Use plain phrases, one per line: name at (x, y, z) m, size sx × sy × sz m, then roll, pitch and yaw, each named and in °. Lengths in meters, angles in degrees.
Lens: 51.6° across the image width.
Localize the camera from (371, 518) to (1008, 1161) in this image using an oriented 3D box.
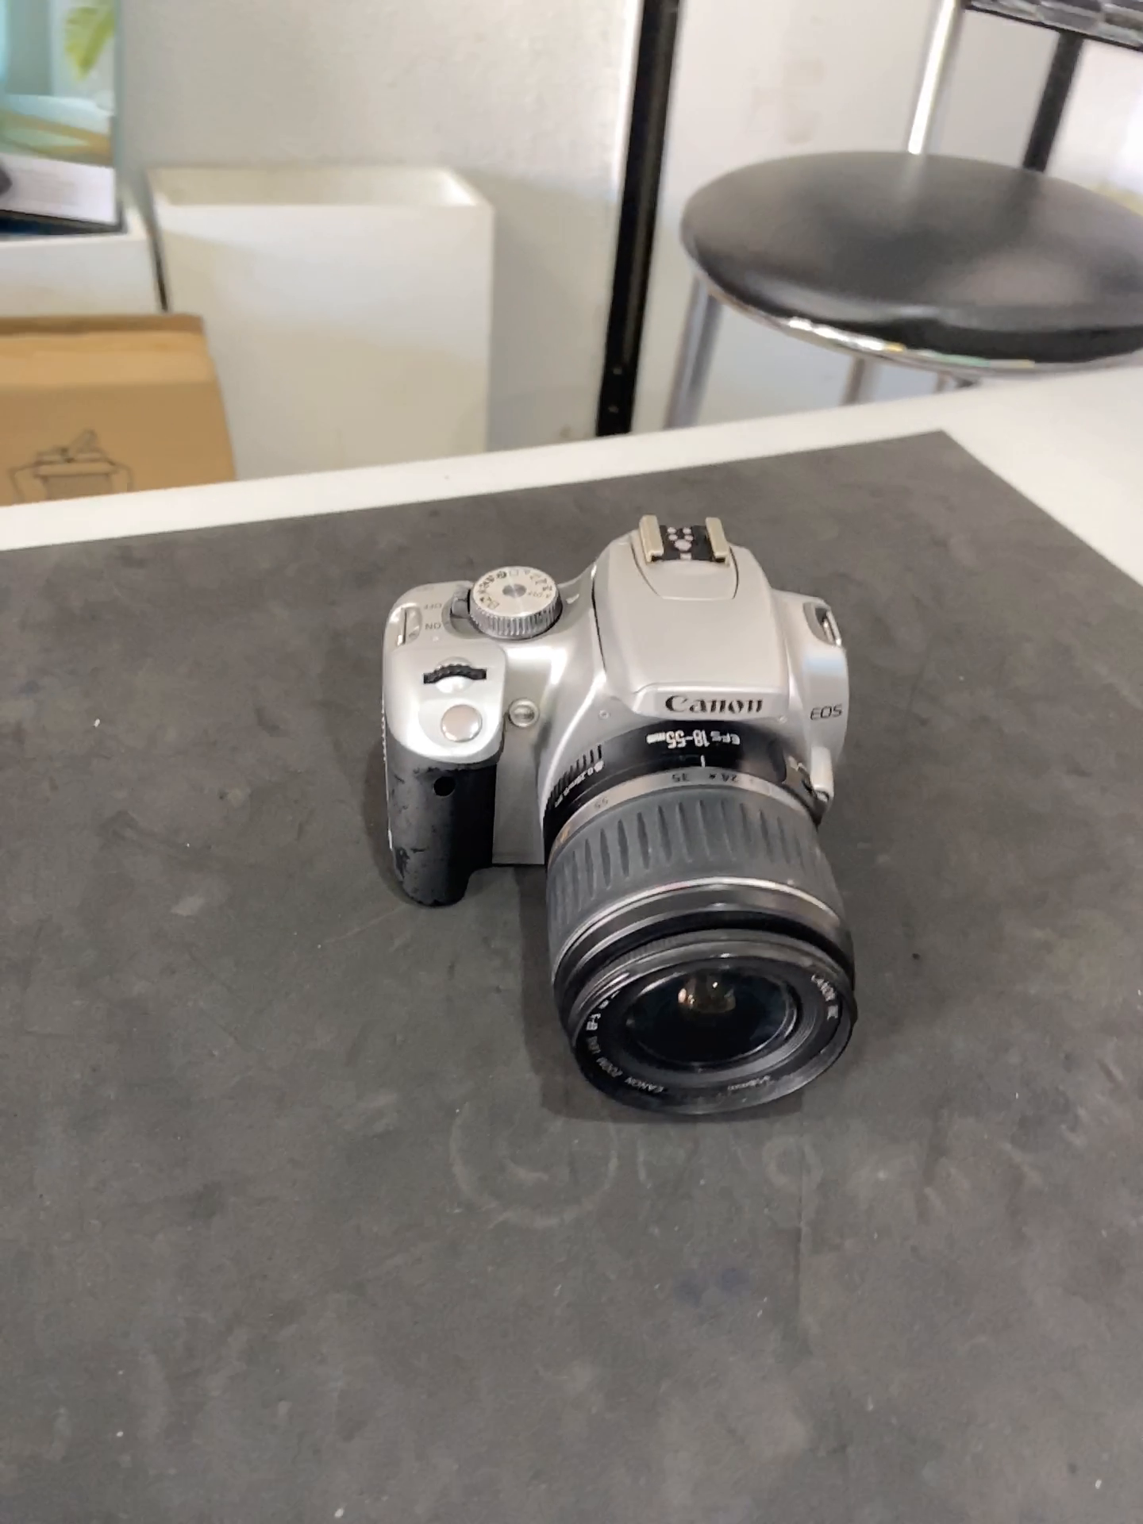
camera at (0.013, 0.010, 0.296) m, size 0.120 × 0.079 × 0.141 m, roll -2°, pitch 40°, yaw -8°
